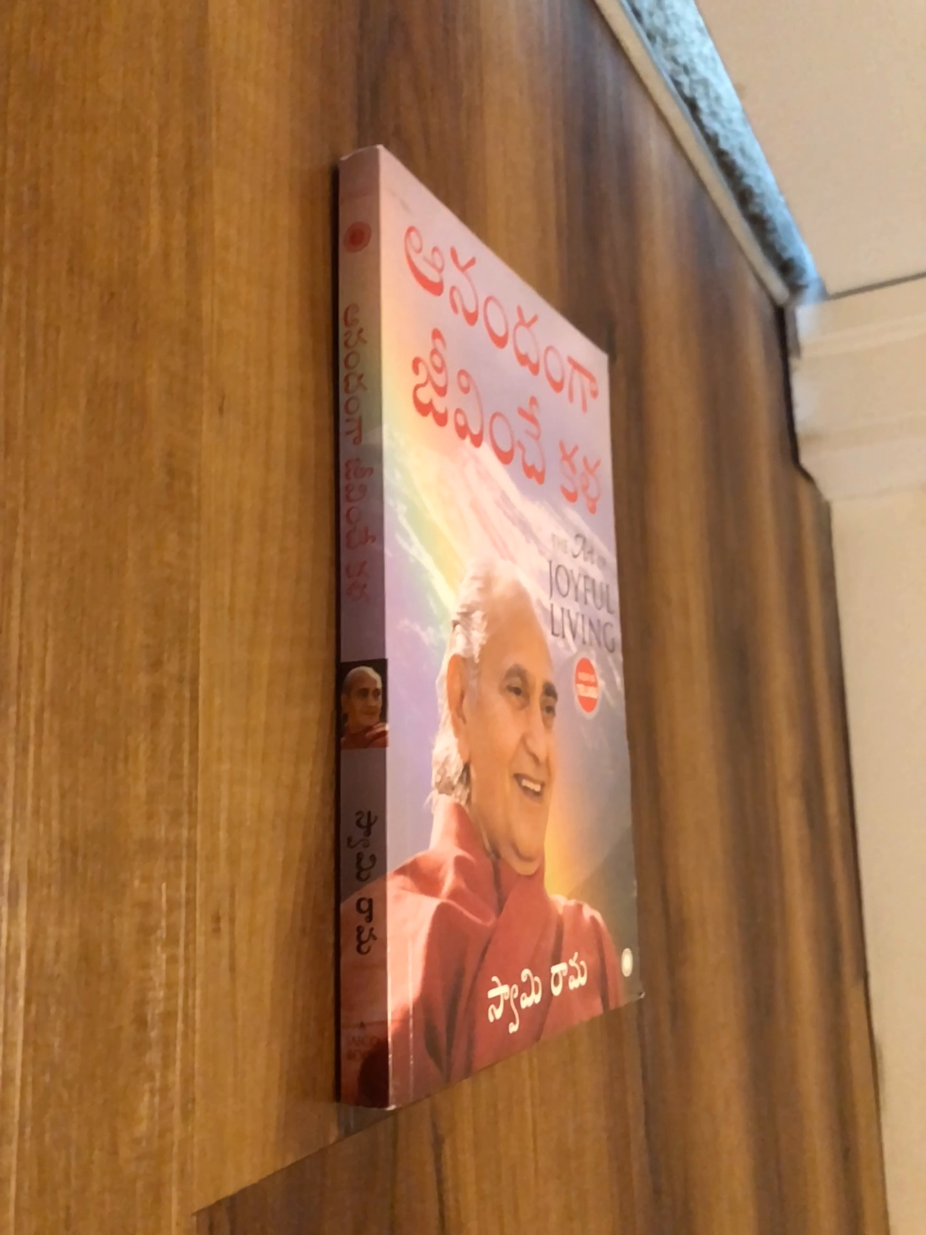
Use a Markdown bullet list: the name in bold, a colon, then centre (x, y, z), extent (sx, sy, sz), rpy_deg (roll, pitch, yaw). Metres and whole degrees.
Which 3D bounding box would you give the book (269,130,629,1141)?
- **book**: centre (0.007, 0.006, 0.288), extent (0.145, 0.020, 0.219), rpy_deg (16, 71, -57)
